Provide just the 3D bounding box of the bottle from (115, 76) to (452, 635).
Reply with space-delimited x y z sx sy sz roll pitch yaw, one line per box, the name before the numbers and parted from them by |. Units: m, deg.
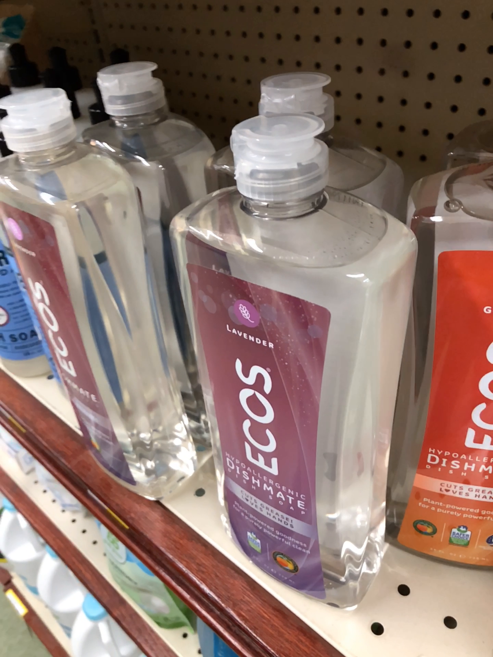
bottle | 0.020 0.030 0.239 0.090 0.243 0.048 23 47 33
